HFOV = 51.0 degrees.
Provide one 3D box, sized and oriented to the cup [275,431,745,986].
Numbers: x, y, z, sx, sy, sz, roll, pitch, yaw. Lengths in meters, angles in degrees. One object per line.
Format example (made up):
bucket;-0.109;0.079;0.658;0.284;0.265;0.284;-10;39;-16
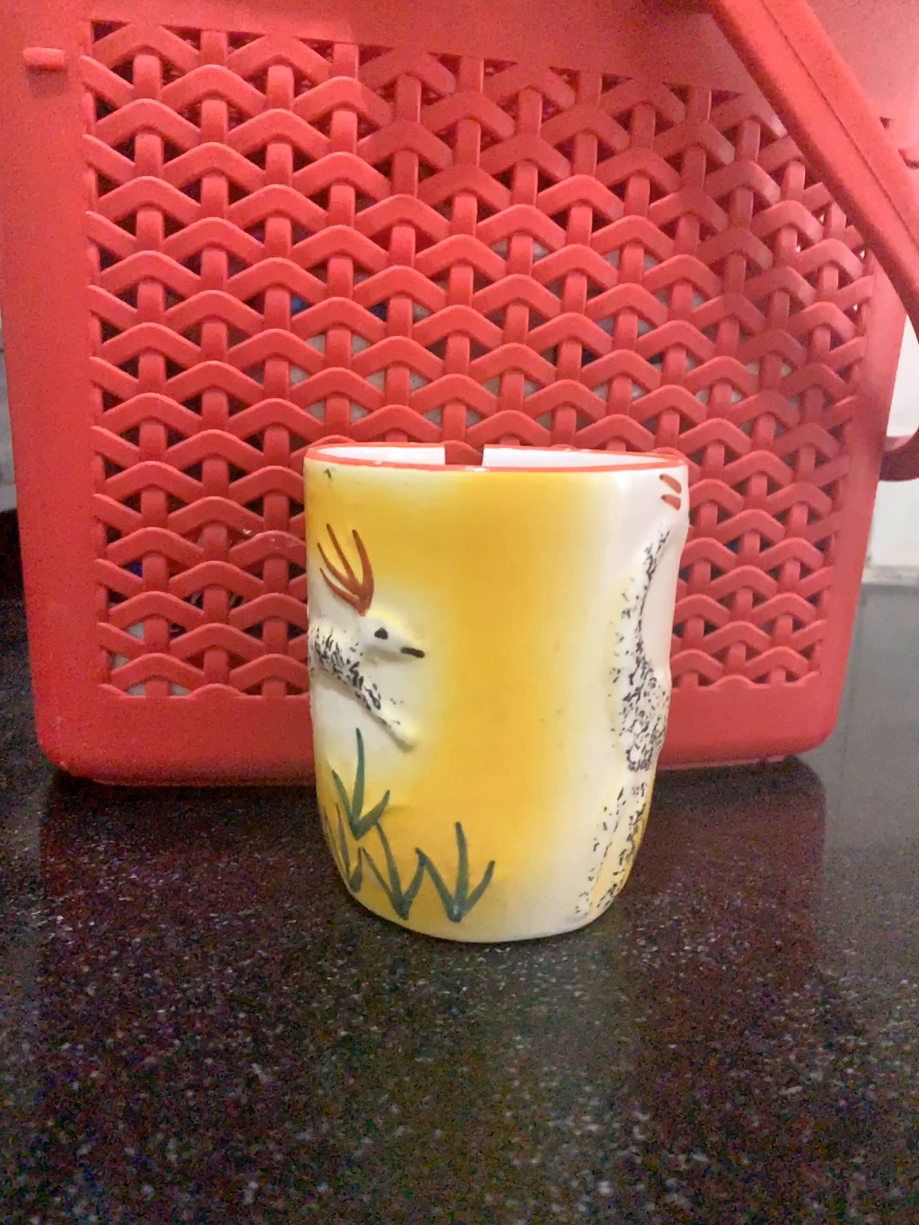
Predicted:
cup;0.003;0.012;0.219;0.080;0.100;0.080;3;11;0
